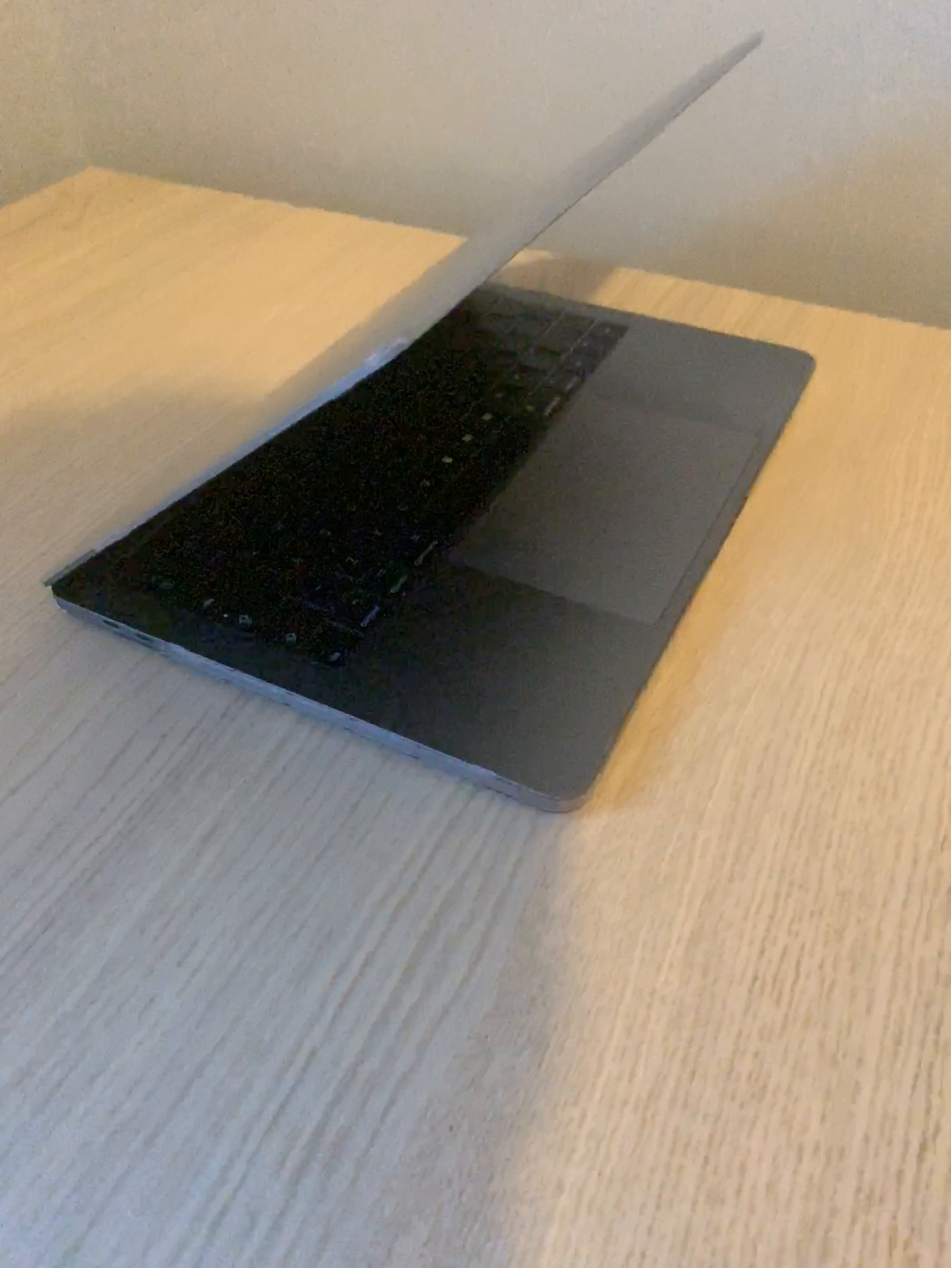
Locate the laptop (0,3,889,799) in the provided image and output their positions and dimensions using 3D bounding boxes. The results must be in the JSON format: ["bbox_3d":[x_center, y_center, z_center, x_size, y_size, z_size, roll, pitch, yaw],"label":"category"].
[{"bbox_3d":[0.003,-0.121,0.365,0.204,0.130,0.291,18,47,21],"label":"laptop"}]
